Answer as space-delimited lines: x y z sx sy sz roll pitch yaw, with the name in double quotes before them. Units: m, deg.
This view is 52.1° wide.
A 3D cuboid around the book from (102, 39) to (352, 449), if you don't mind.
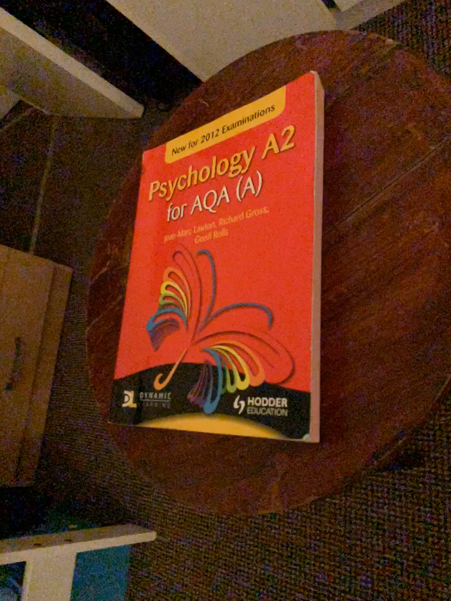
"book" -0.003 -0.039 0.386 0.211 0.040 0.291 -8 70 41
